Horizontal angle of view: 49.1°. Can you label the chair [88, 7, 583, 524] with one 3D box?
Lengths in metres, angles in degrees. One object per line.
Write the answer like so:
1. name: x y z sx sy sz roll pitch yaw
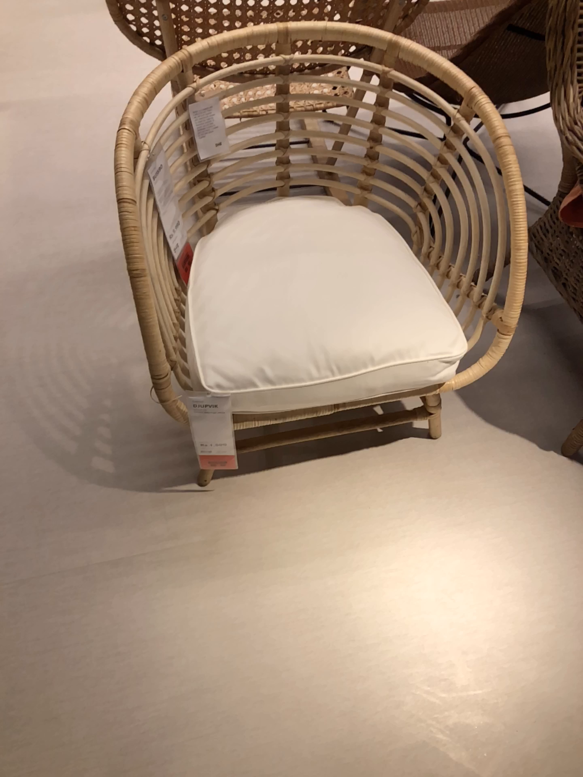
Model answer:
1. chair: 0.032 -0.245 1.457 0.750 0.826 0.683 -10 56 -9
